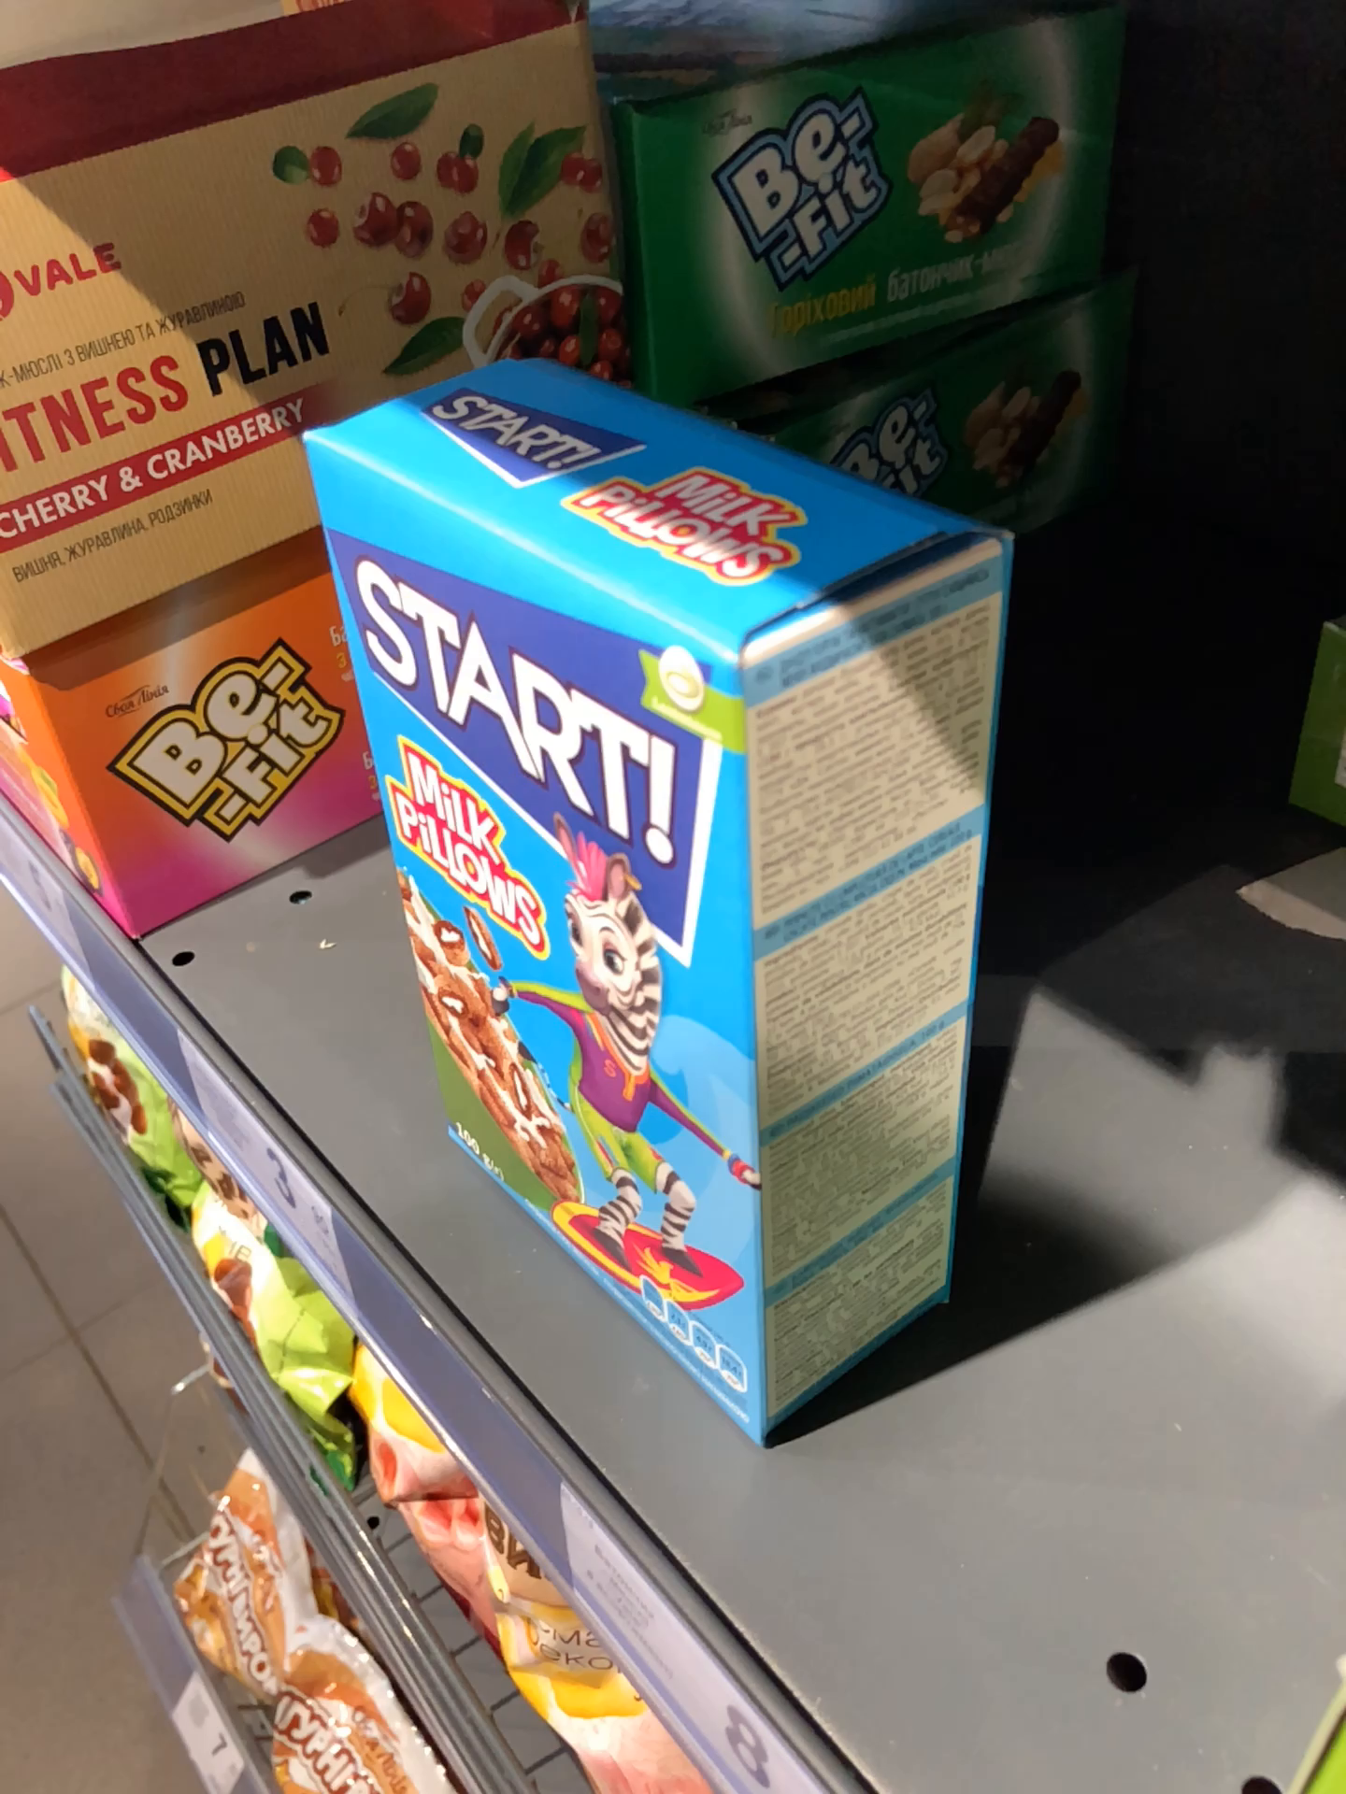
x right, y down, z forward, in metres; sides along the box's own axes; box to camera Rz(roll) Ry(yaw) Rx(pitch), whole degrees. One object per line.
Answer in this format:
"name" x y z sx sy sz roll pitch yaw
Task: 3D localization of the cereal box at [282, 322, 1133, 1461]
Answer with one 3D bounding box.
"cereal box" 0.004 -0.002 0.284 0.070 0.169 0.121 -30 45 -30
